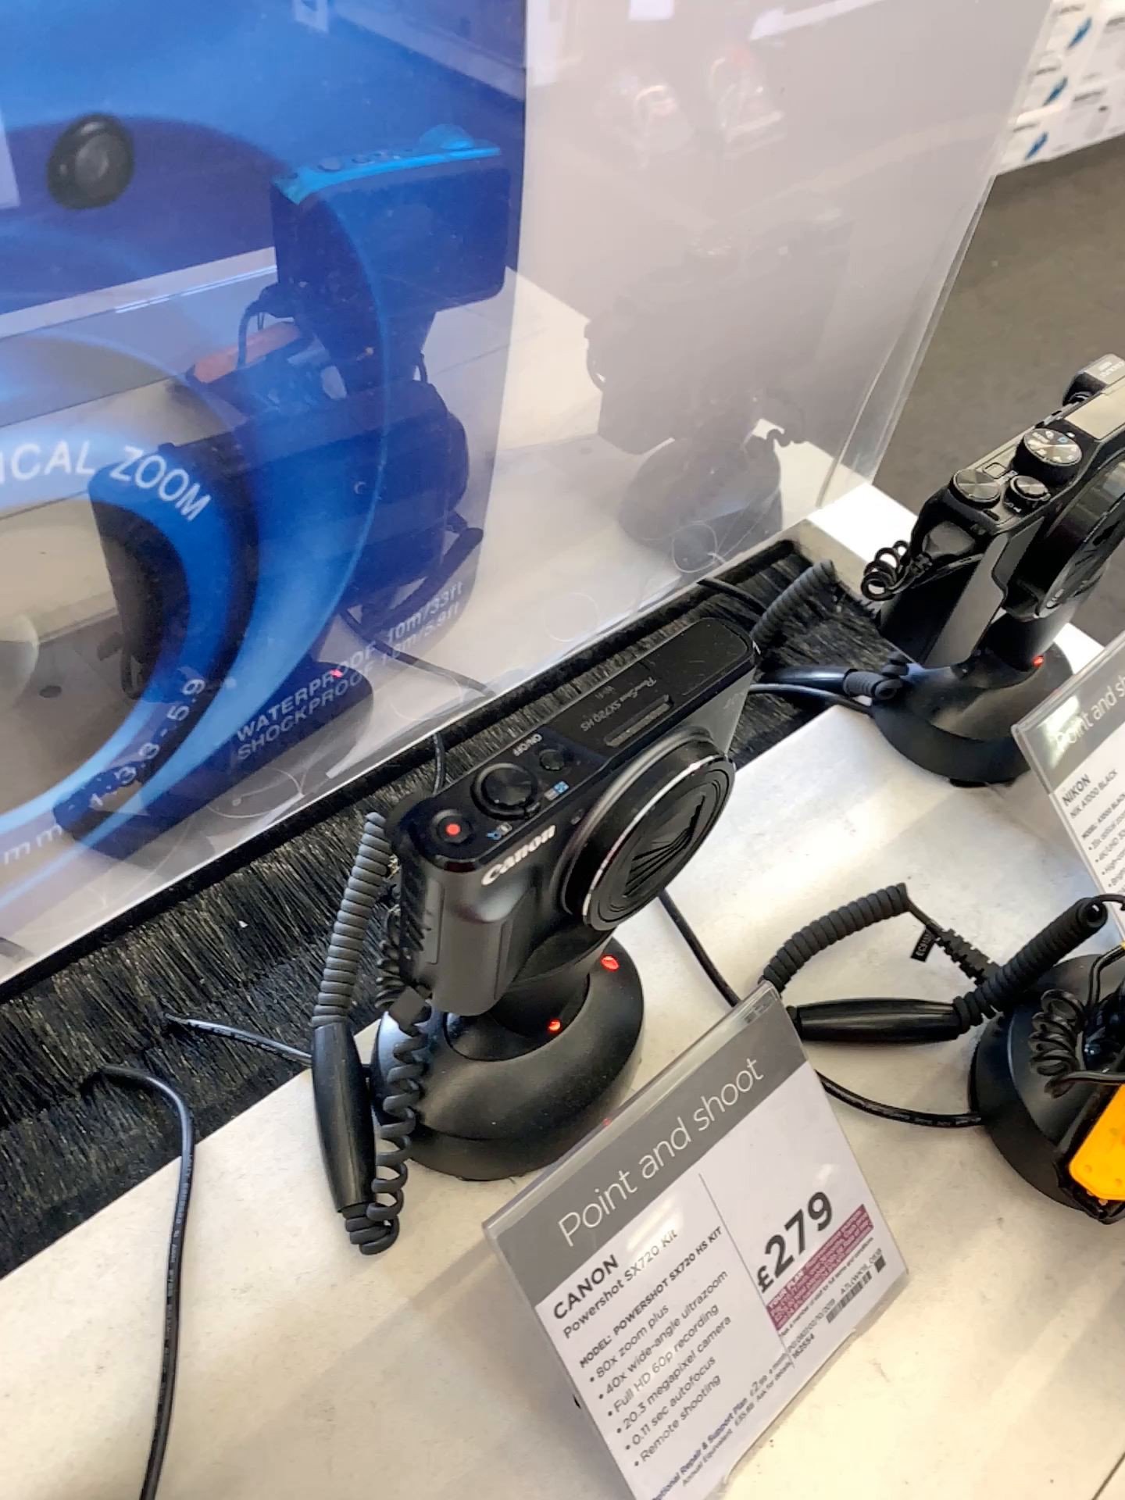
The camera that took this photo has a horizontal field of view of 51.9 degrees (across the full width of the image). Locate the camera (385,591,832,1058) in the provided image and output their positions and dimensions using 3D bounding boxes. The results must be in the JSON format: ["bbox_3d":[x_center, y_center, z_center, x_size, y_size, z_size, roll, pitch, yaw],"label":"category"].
[{"bbox_3d":[0.011,0.015,0.280,0.113,0.061,0.031,-34,62,-32],"label":"camera"}]
